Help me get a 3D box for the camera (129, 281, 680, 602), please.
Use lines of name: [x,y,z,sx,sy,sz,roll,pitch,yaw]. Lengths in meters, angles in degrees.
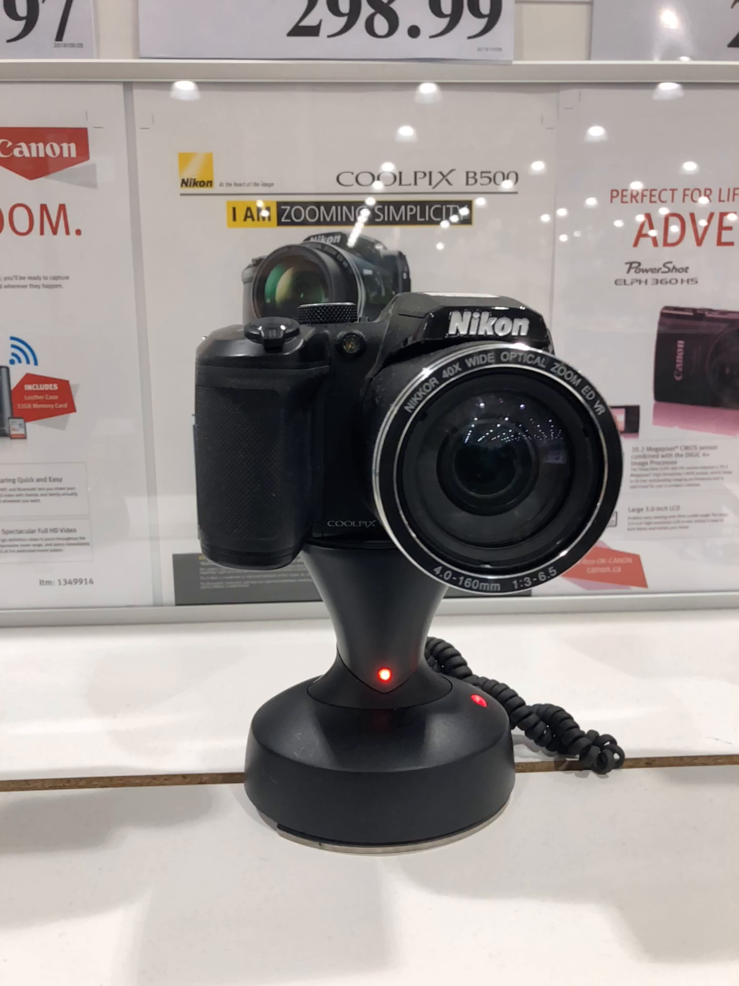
camera: [0.005,-0.021,0.234,0.120,0.070,0.100,-1,12,-4]
